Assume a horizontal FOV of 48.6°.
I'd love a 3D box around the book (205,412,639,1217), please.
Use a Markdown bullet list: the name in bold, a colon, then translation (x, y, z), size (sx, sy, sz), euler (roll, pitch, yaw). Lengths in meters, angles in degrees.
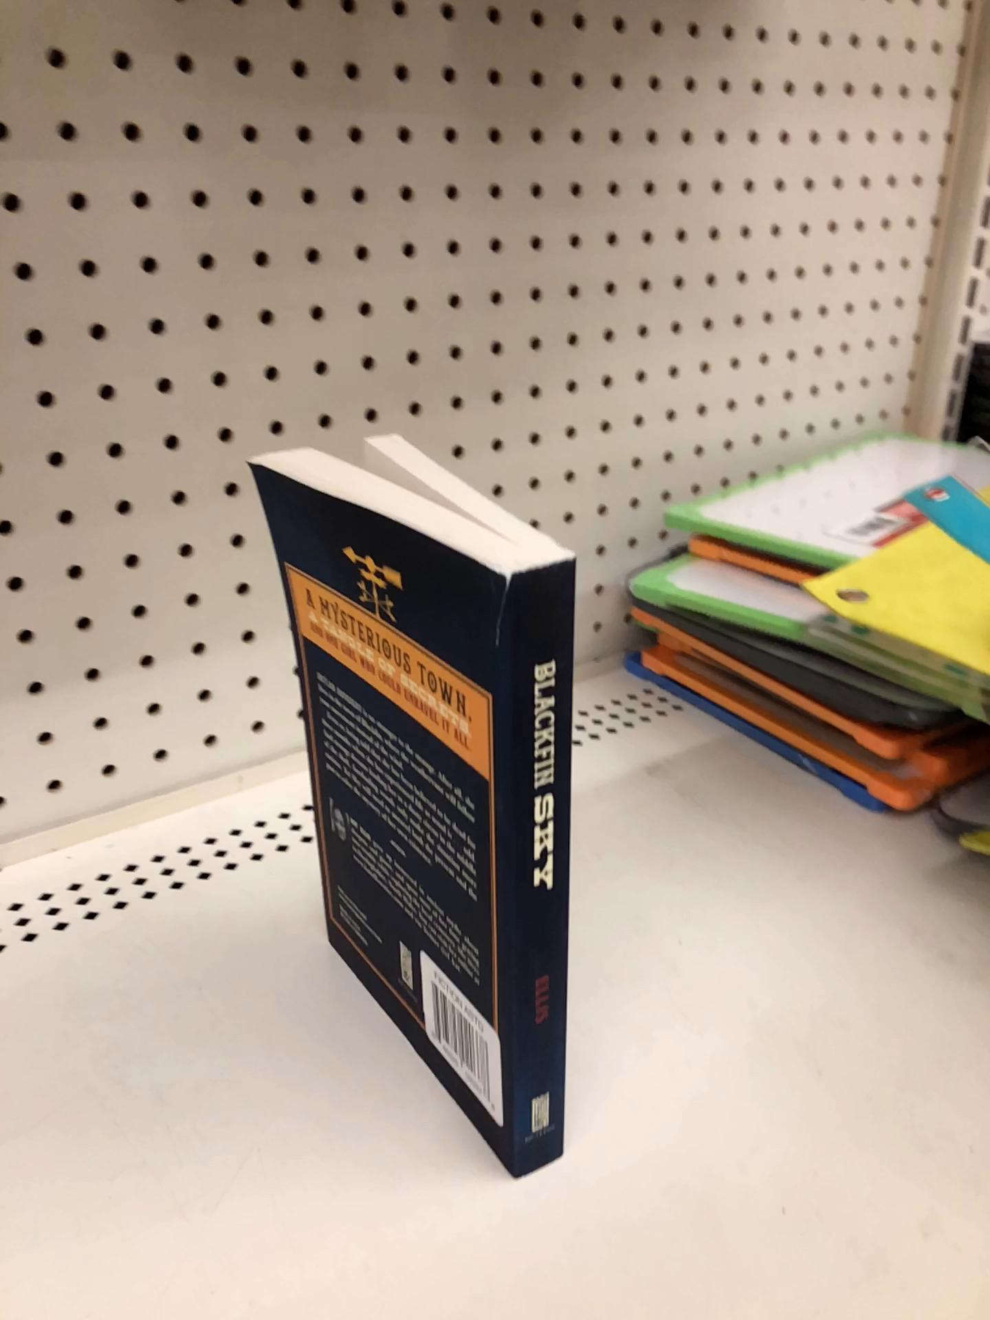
- **book**: translation (-0.027, 0.041, 0.356), size (0.059, 0.205, 0.150), euler (-17, 30, -28)
